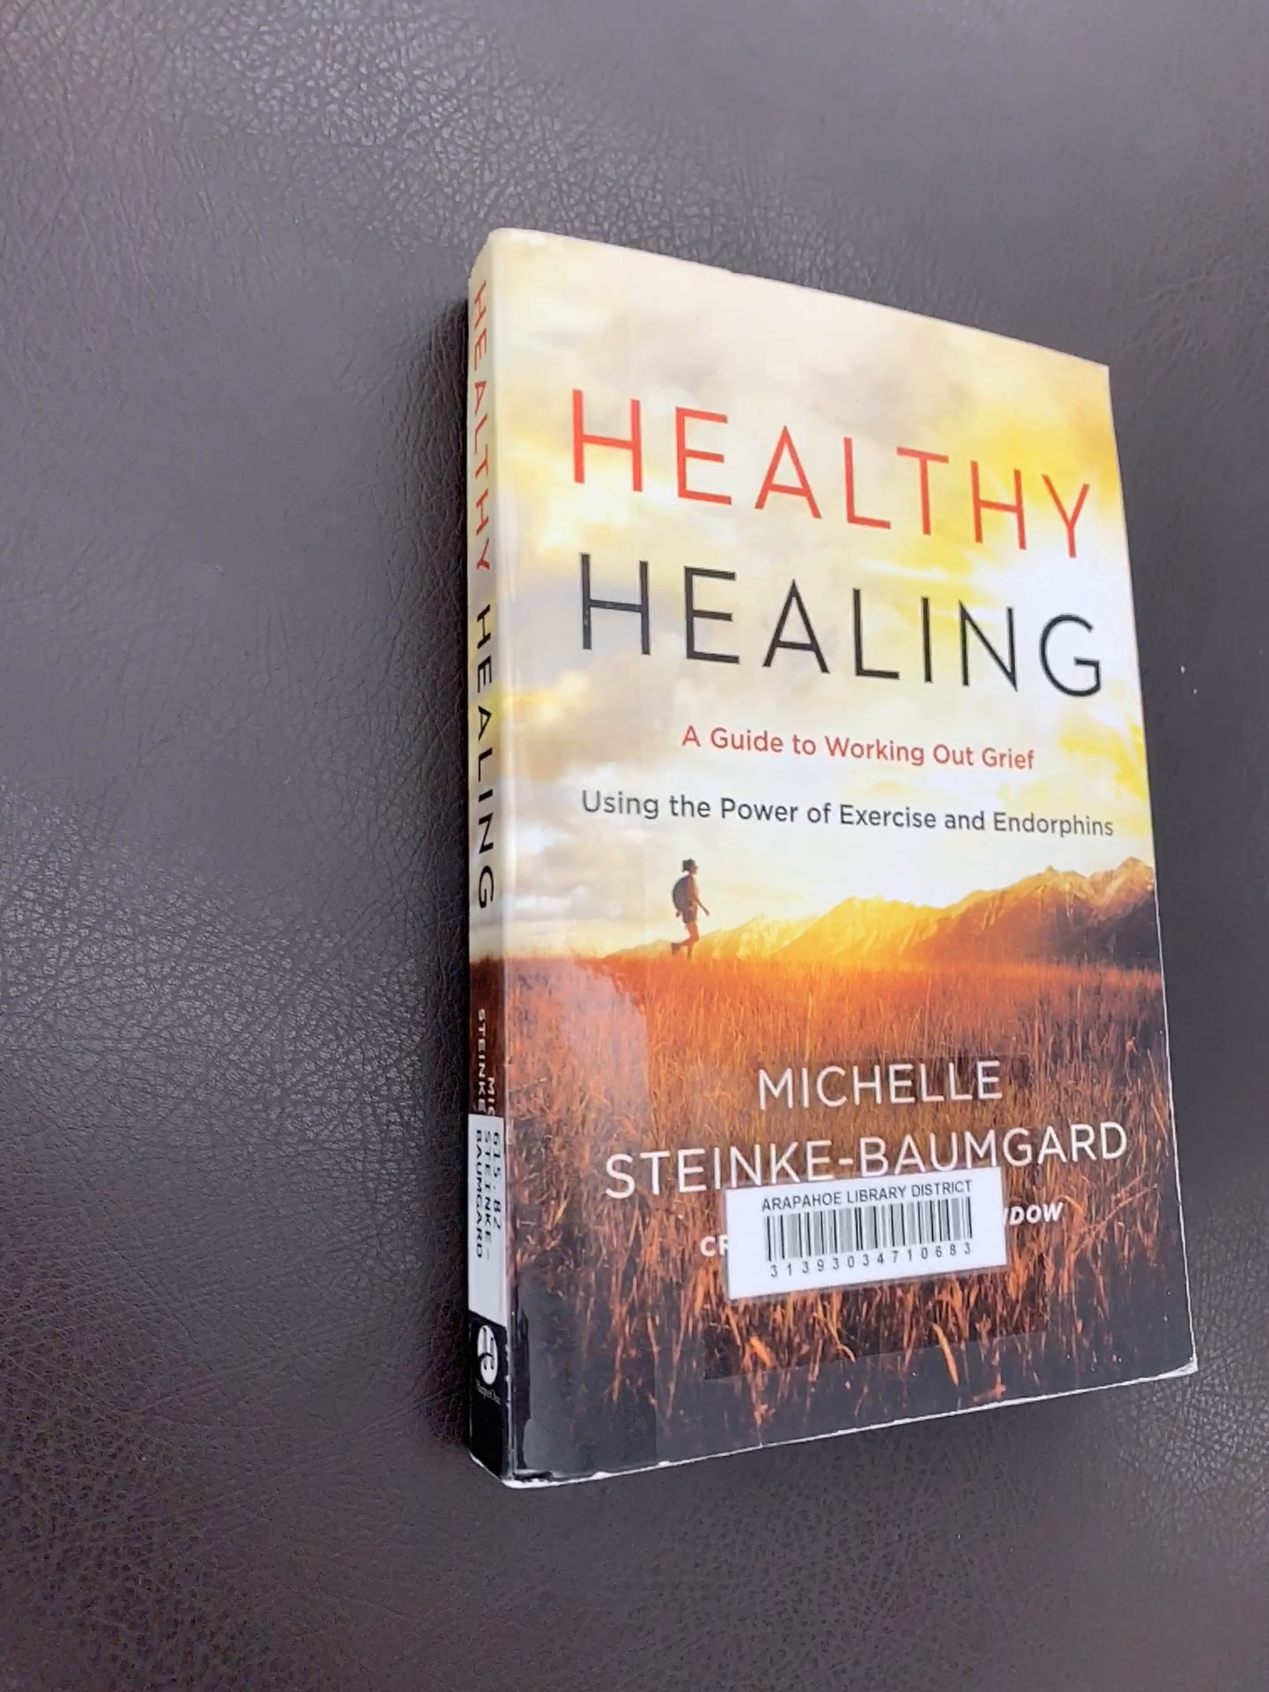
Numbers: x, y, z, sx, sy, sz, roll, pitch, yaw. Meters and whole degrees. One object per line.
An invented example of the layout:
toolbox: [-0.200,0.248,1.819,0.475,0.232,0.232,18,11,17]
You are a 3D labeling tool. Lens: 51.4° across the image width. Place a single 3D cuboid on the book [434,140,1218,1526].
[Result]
book: [0.036,-0.006,0.242,0.140,0.027,0.212,2,80,-26]
